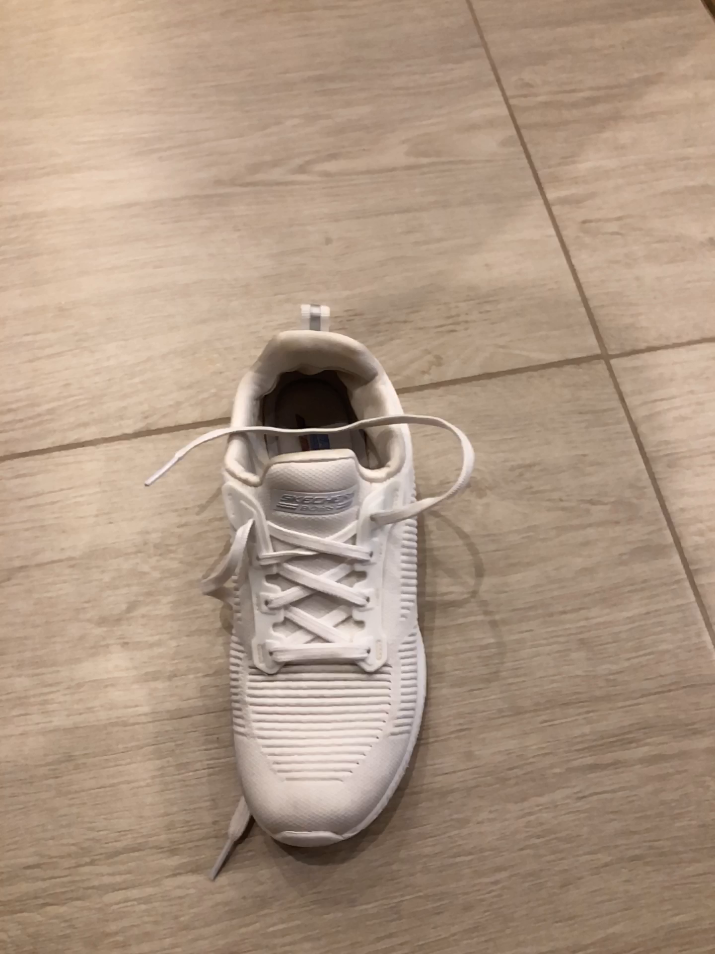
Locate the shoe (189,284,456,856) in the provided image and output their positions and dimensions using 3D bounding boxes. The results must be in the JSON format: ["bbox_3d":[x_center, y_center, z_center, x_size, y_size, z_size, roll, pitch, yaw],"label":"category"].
[{"bbox_3d":[-0.014,0.044,0.366,0.090,0.120,0.231,-2,67,0],"label":"shoe"}]
